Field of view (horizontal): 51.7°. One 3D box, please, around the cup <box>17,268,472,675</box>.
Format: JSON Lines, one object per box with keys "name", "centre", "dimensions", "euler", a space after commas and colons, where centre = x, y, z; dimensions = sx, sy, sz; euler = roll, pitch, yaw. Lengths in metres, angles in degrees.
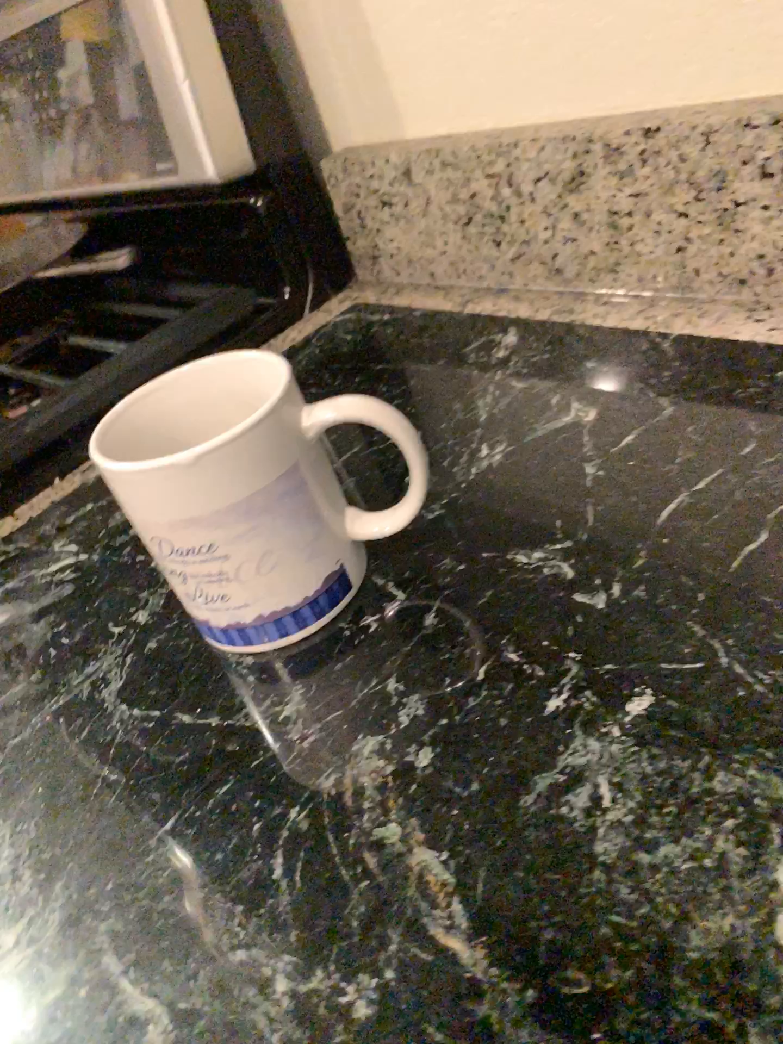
{"name": "cup", "centre": [-0.046, -0.019, 0.319], "dimensions": [0.130, 0.099, 0.091], "euler": [-13, 35, 11]}
